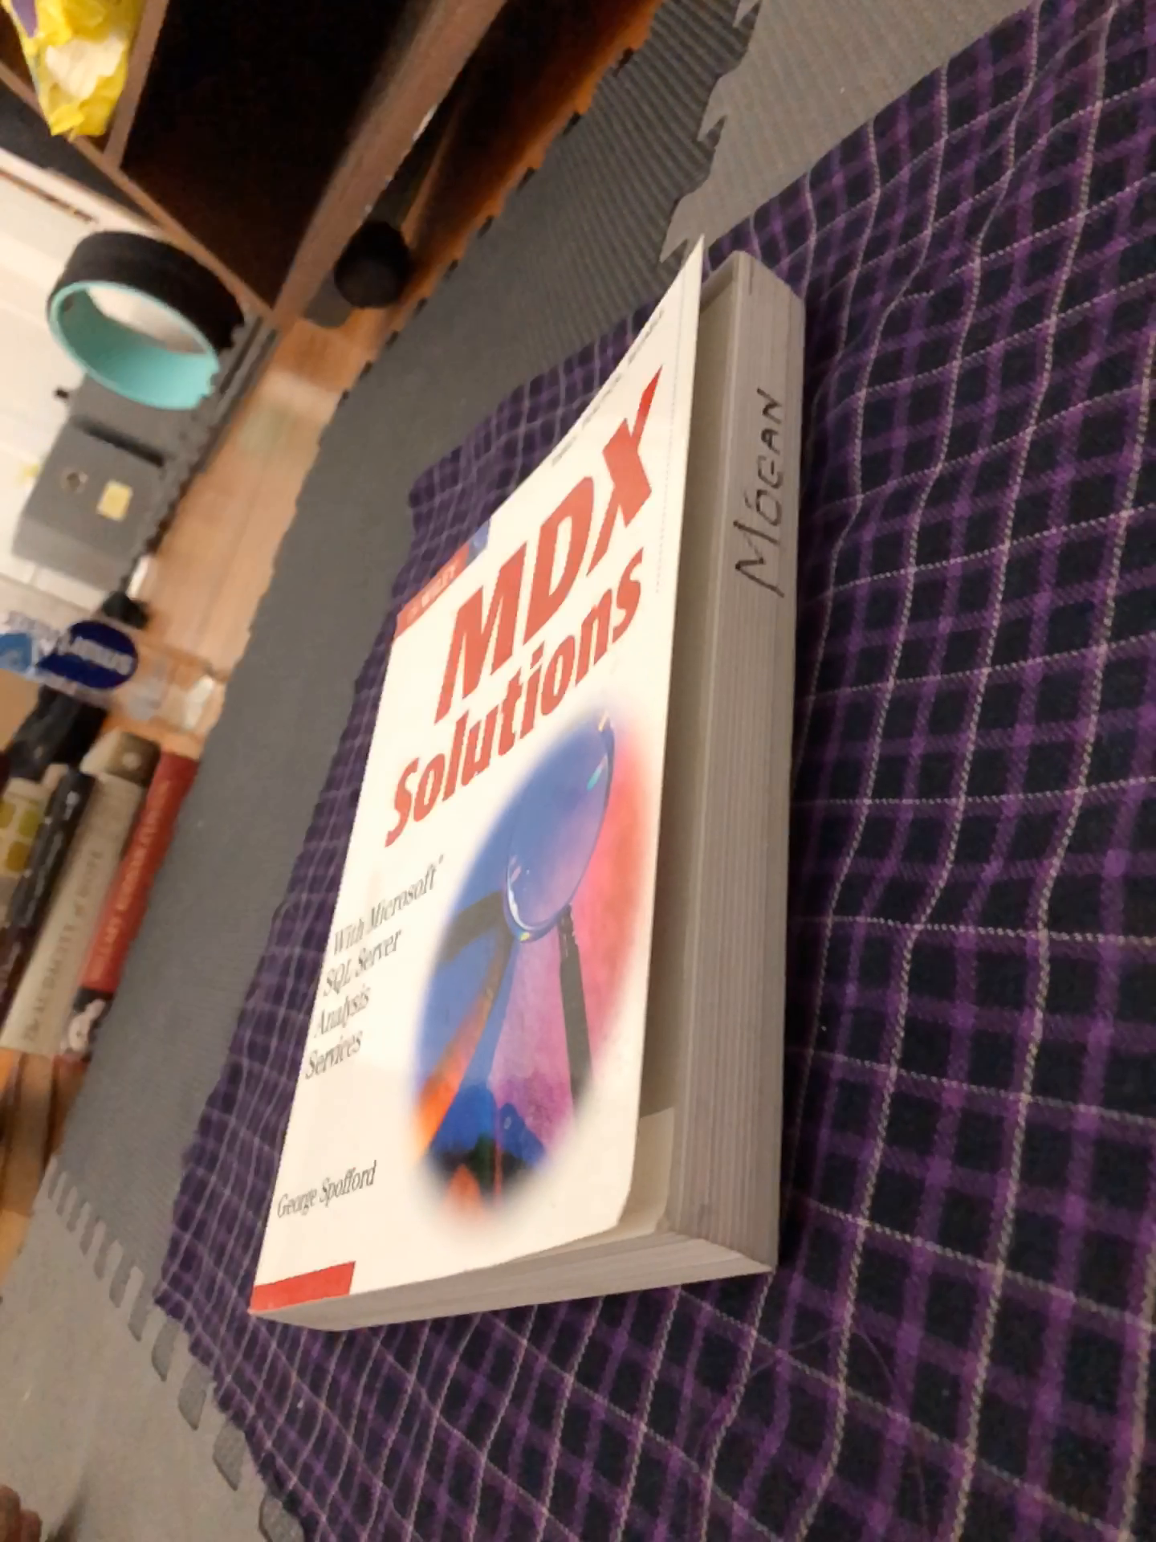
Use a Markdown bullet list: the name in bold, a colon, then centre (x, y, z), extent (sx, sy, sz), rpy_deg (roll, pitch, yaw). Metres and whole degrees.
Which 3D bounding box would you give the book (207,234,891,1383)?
- **book**: centre (-0.010, 0.021, 0.360), extent (0.220, 0.050, 0.261), rpy_deg (-37, 37, 49)
